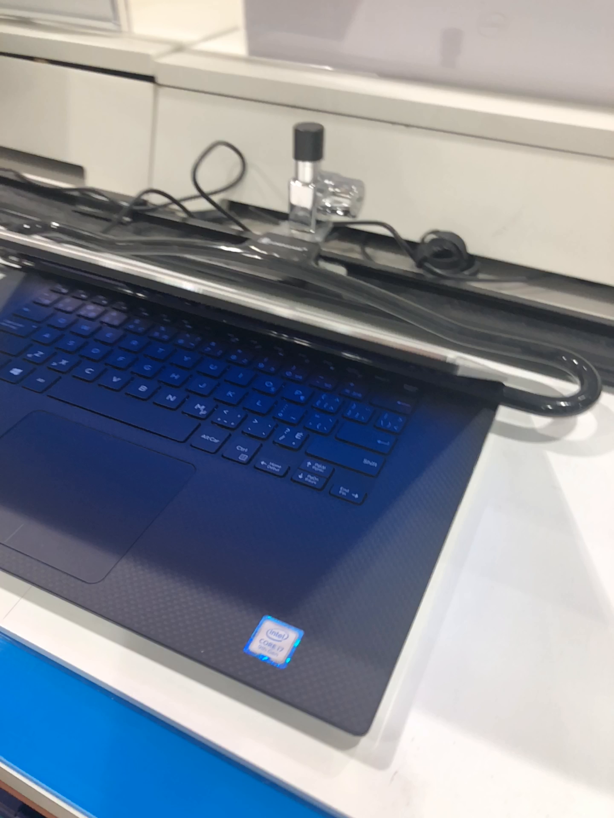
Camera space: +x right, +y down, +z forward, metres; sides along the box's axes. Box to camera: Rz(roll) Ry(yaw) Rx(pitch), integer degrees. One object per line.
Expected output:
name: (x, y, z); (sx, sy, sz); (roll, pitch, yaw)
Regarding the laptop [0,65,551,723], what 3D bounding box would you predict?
laptop: (-0.092, -0.049, 0.329); (0.345, 0.133, 0.217); (17, 42, 18)
